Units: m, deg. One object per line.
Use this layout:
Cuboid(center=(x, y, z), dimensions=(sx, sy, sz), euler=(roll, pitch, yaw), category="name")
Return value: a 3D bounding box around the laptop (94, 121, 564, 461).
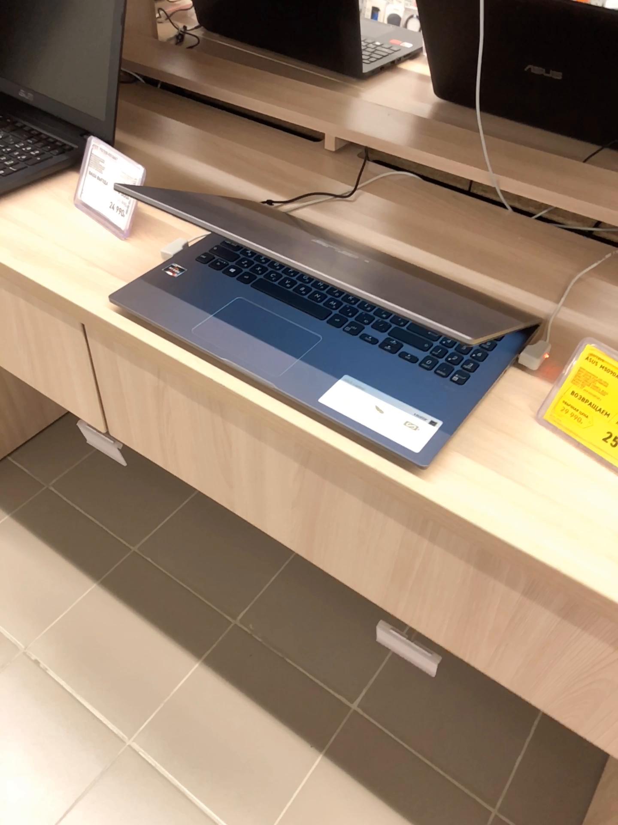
Cuboid(center=(0.015, -0.140, 0.639), dimensions=(0.349, 0.111, 0.233), euler=(28, 49, 24), category="laptop")
